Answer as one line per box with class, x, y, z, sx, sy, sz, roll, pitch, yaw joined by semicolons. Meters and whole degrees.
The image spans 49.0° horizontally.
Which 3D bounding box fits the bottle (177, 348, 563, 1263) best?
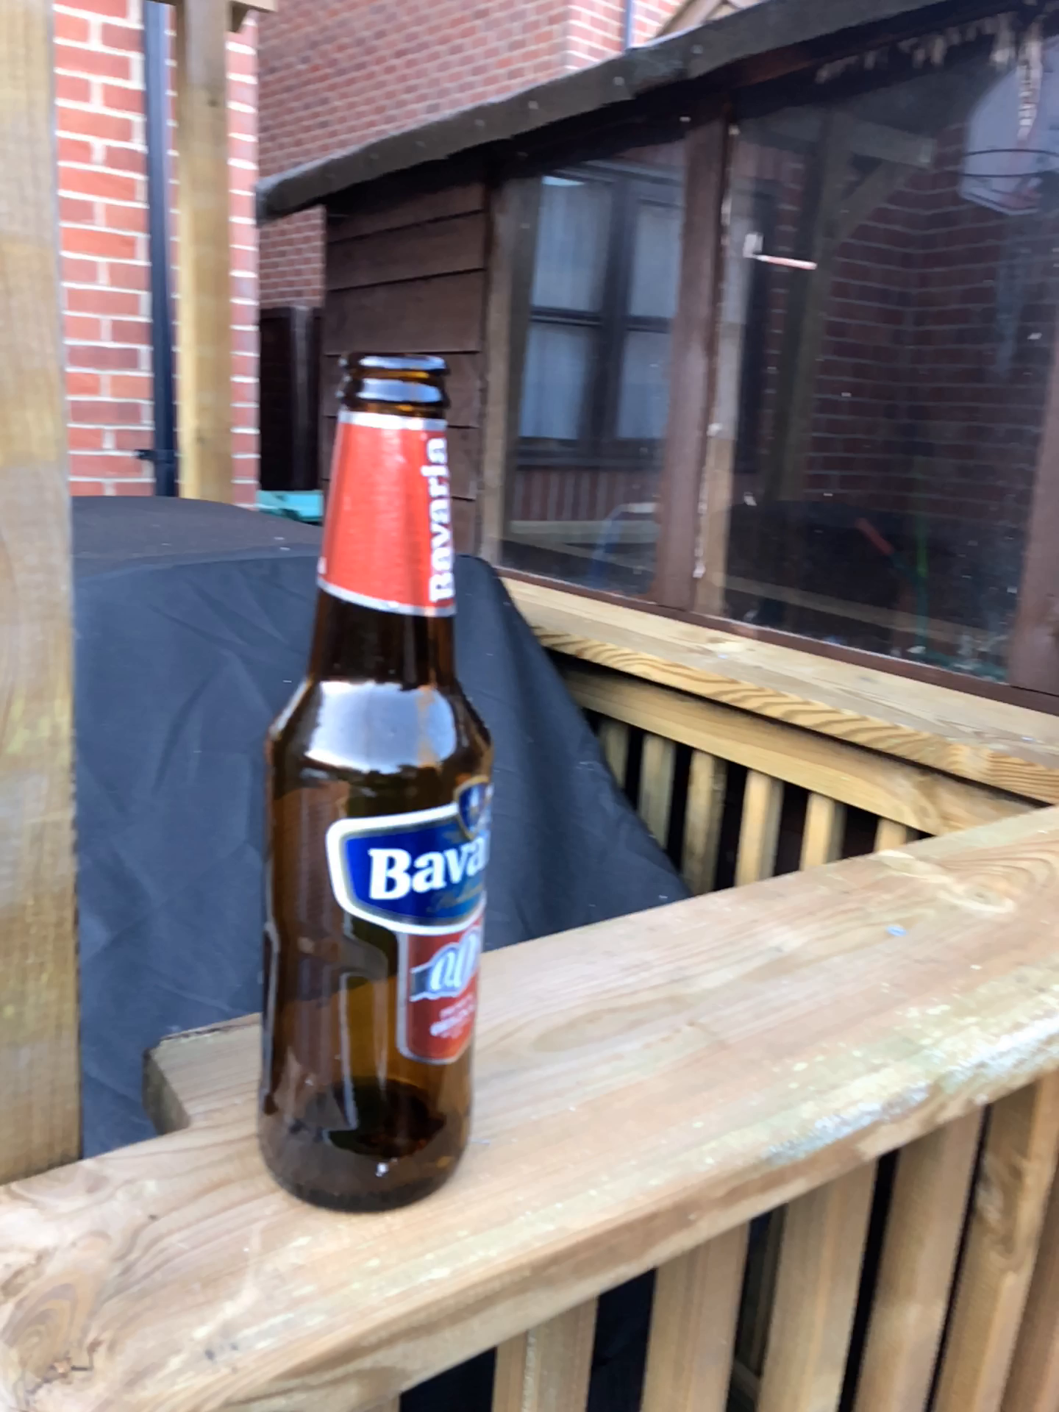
bottle;-0.040;0.020;0.299;0.060;0.209;0.070;10;15;30
